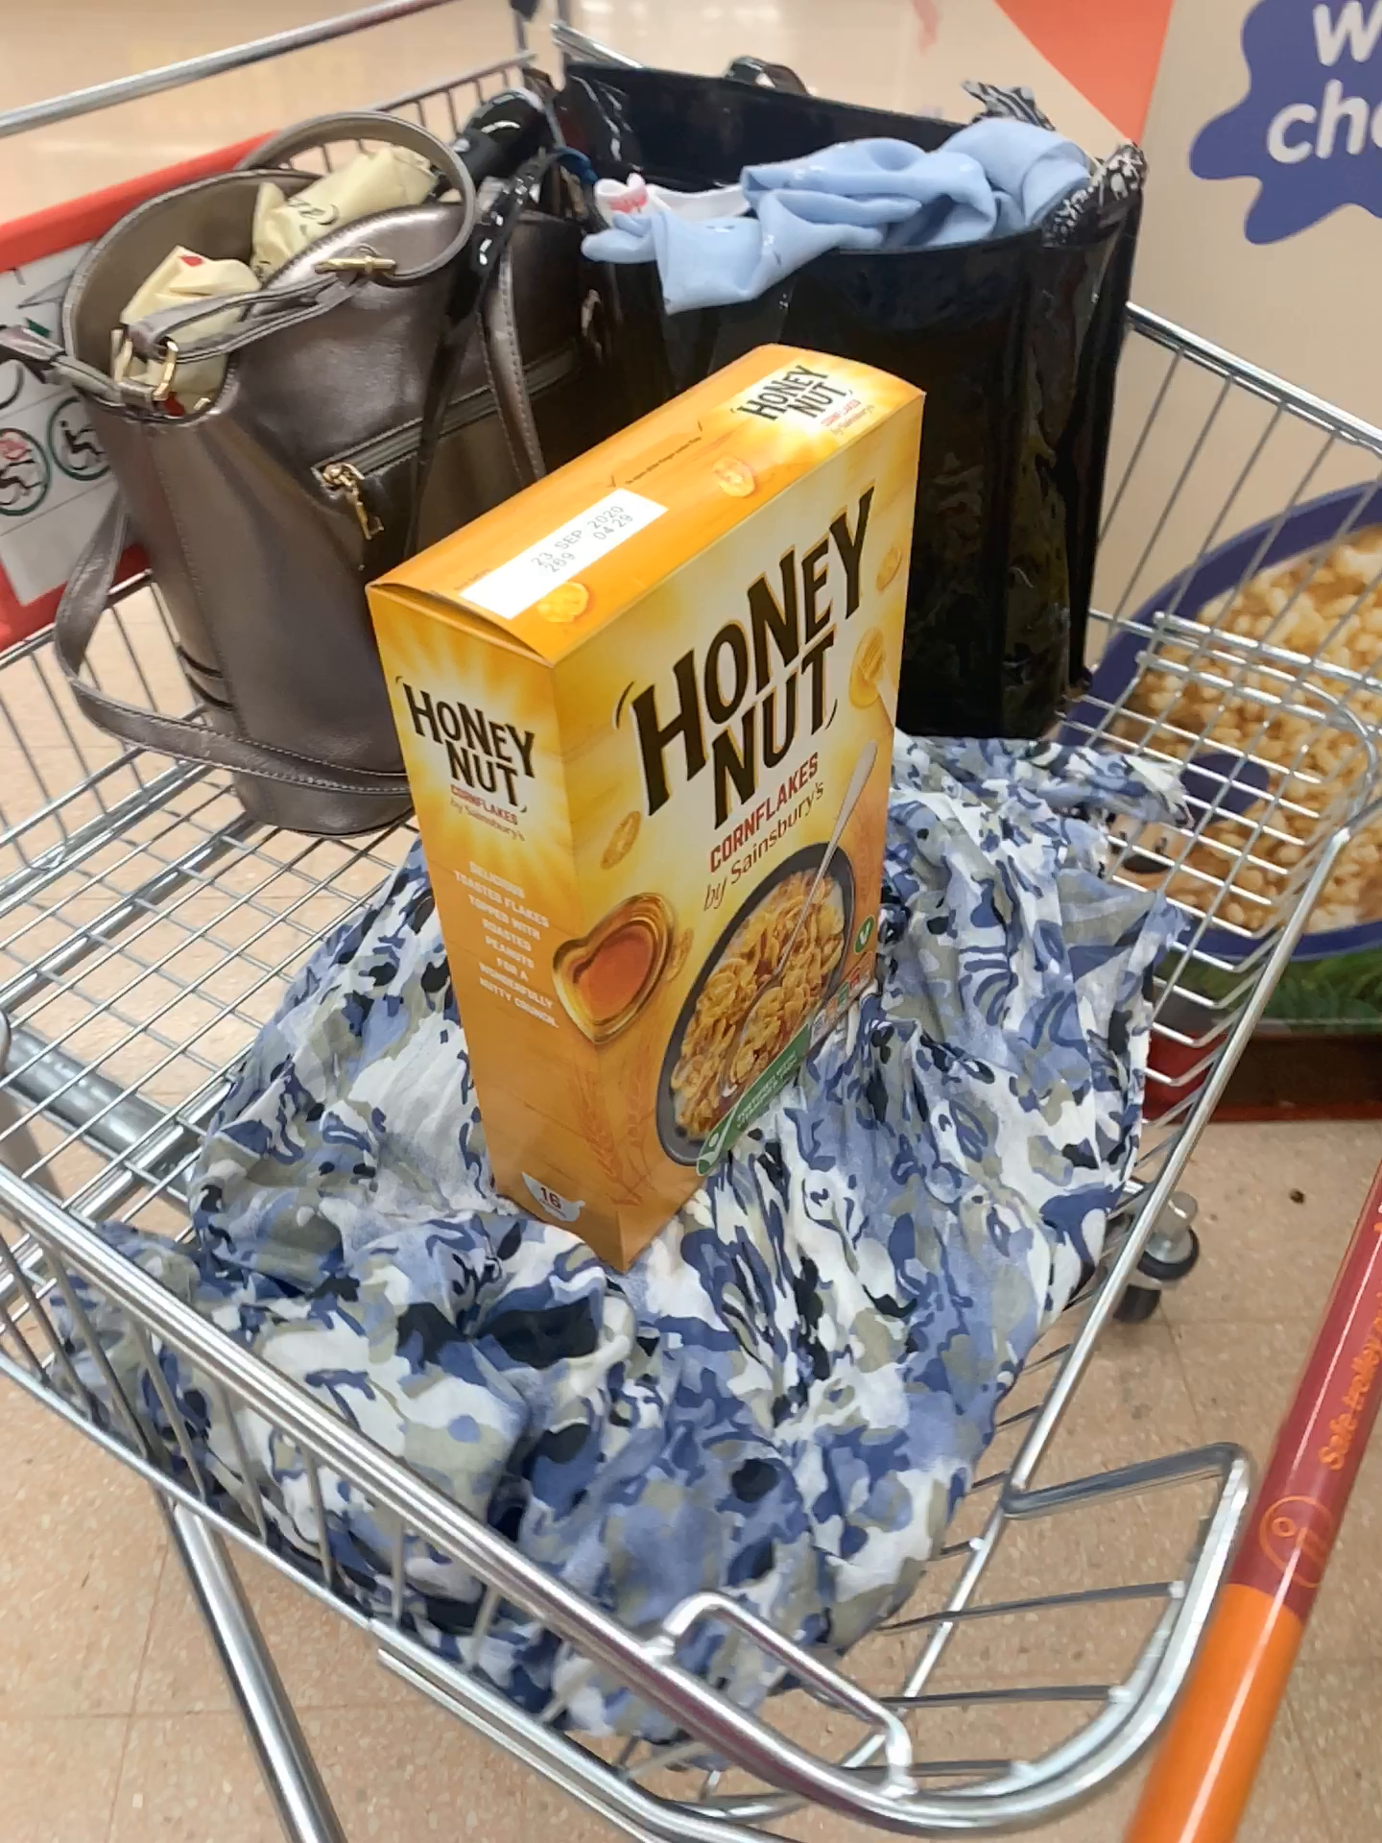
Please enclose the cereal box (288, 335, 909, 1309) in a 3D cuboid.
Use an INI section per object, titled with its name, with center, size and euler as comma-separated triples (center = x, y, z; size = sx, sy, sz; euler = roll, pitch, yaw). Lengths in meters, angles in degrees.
[cereal box]
center = -0.015, -0.031, 0.539
size = 0.080, 0.297, 0.211
euler = 25, 49, 26
